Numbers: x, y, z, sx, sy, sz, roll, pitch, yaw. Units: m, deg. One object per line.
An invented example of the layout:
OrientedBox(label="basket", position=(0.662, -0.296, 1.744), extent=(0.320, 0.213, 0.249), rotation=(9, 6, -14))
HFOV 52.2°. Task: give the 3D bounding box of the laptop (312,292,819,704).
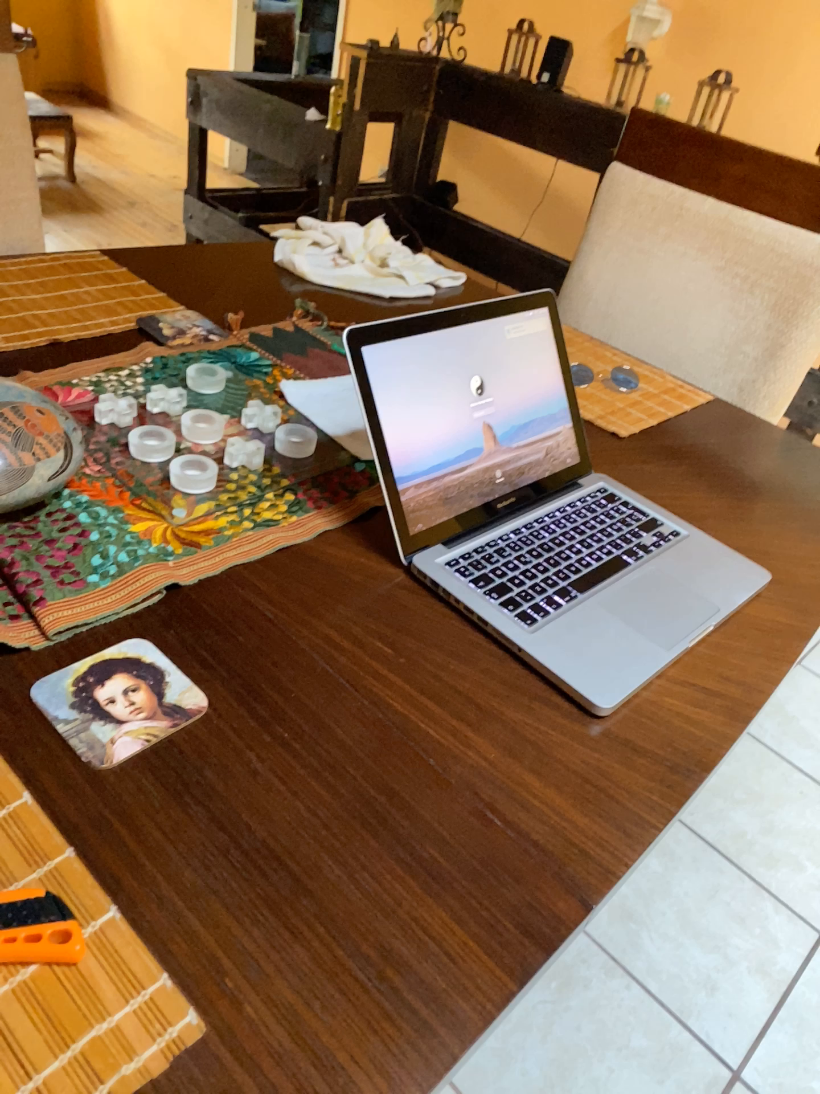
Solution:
OrientedBox(label="laptop", position=(0.150, -0.085, 0.832), extent=(0.358, 0.170, 0.326), rotation=(37, 42, 30))
